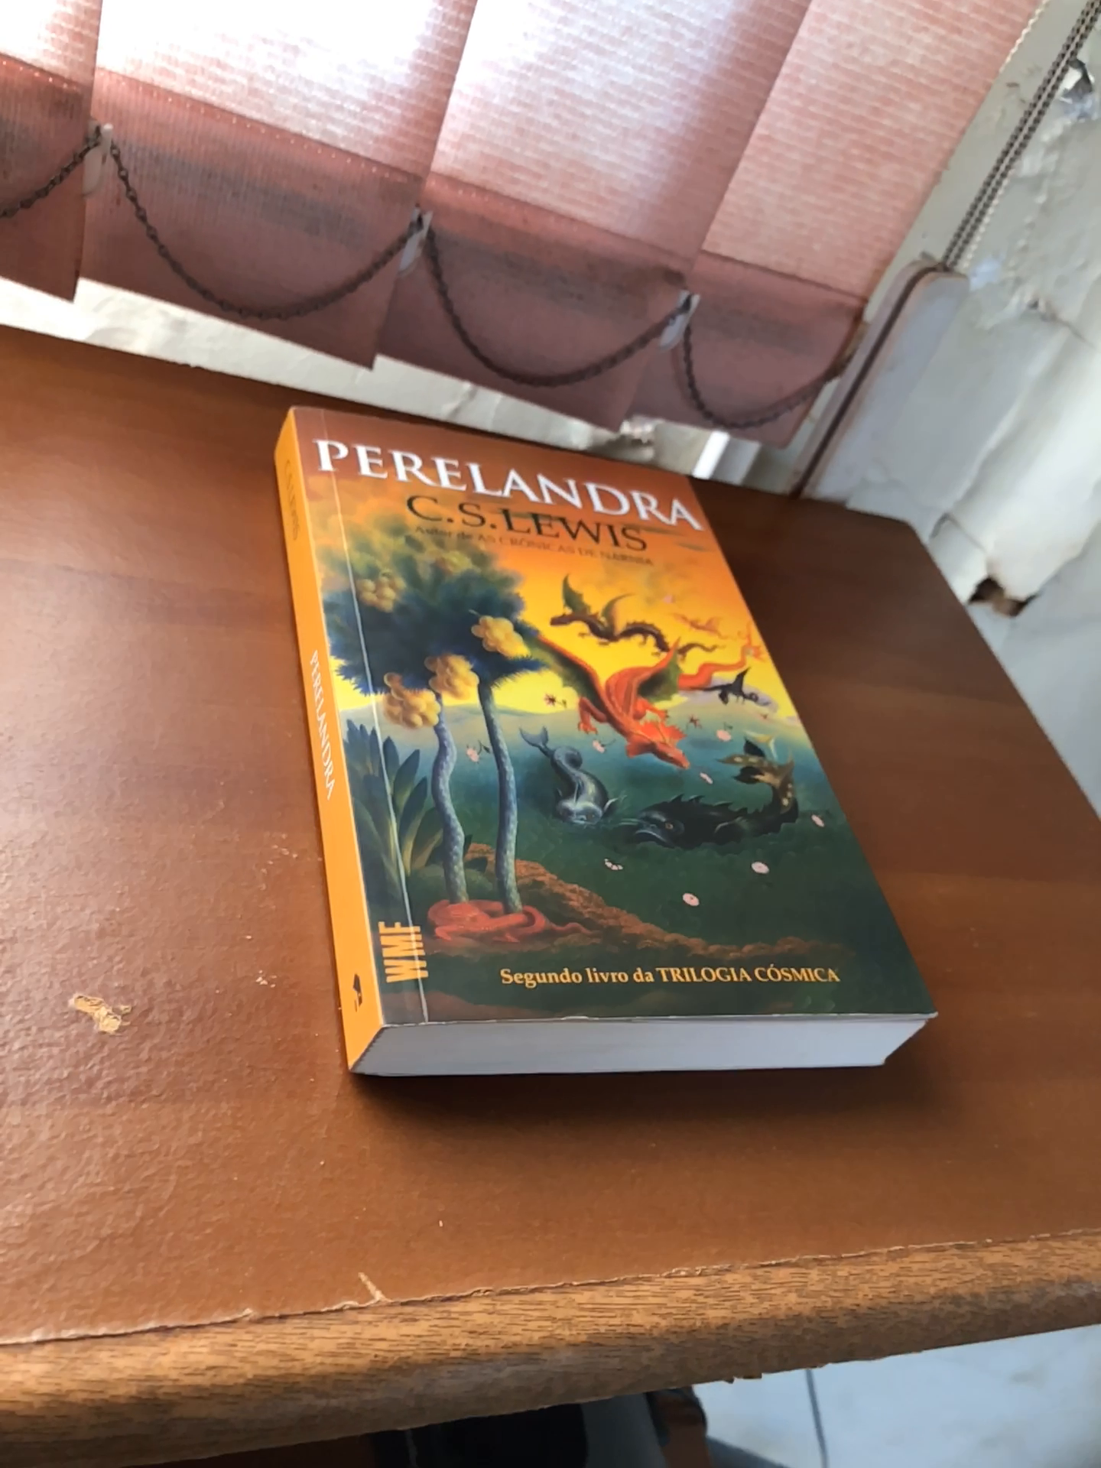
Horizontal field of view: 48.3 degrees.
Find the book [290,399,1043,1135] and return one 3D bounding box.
[{"bbox_3d":[0.014,-0.004,0.295,0.130,0.030,0.191,4,44,-24],"label":"book"}]
